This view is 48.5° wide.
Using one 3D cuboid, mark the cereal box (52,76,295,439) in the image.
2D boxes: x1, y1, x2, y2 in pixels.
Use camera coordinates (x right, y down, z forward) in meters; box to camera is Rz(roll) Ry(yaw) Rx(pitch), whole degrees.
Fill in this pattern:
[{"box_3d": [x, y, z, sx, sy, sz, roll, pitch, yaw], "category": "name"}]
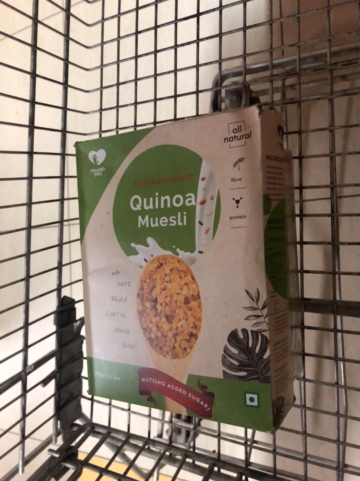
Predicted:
[{"box_3d": [-0.007, 0.012, 0.295, 0.160, 0.060, 0.210, -2, 92, 28], "category": "cereal box"}]
